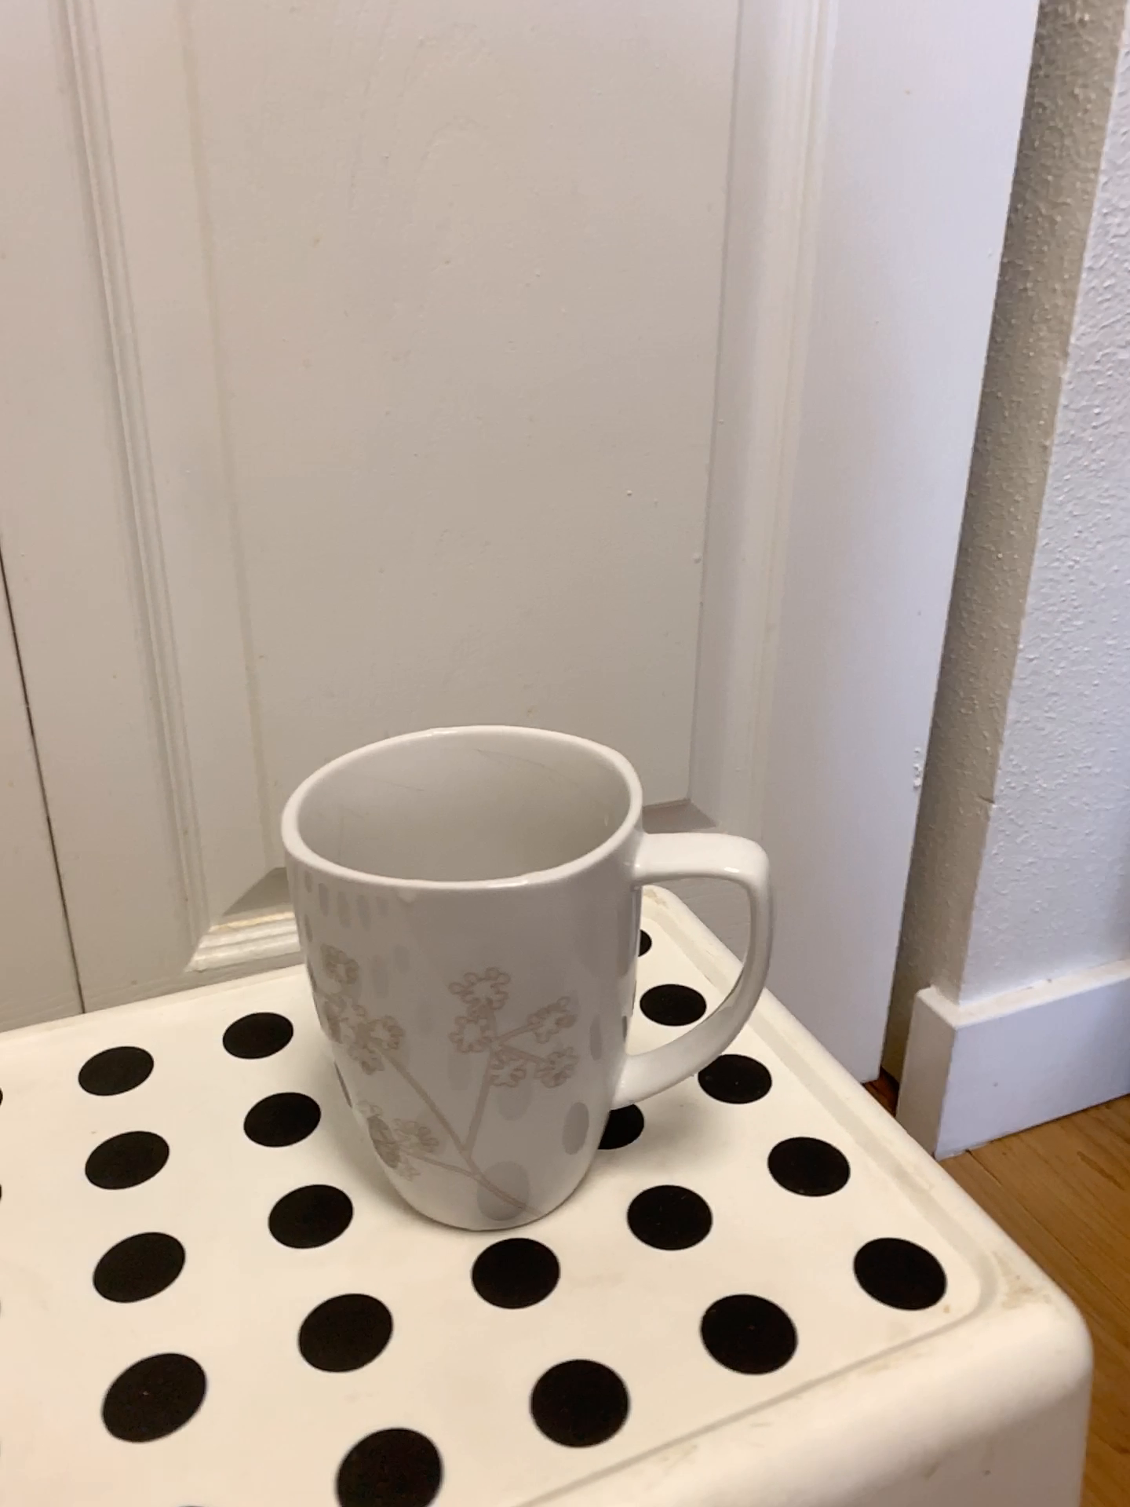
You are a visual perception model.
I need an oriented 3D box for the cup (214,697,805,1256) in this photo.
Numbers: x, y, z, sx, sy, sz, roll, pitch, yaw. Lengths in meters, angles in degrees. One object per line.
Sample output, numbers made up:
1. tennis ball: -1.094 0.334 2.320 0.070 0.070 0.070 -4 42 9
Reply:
1. cup: -0.010 0.052 0.289 0.120 0.110 0.070 2 24 4
